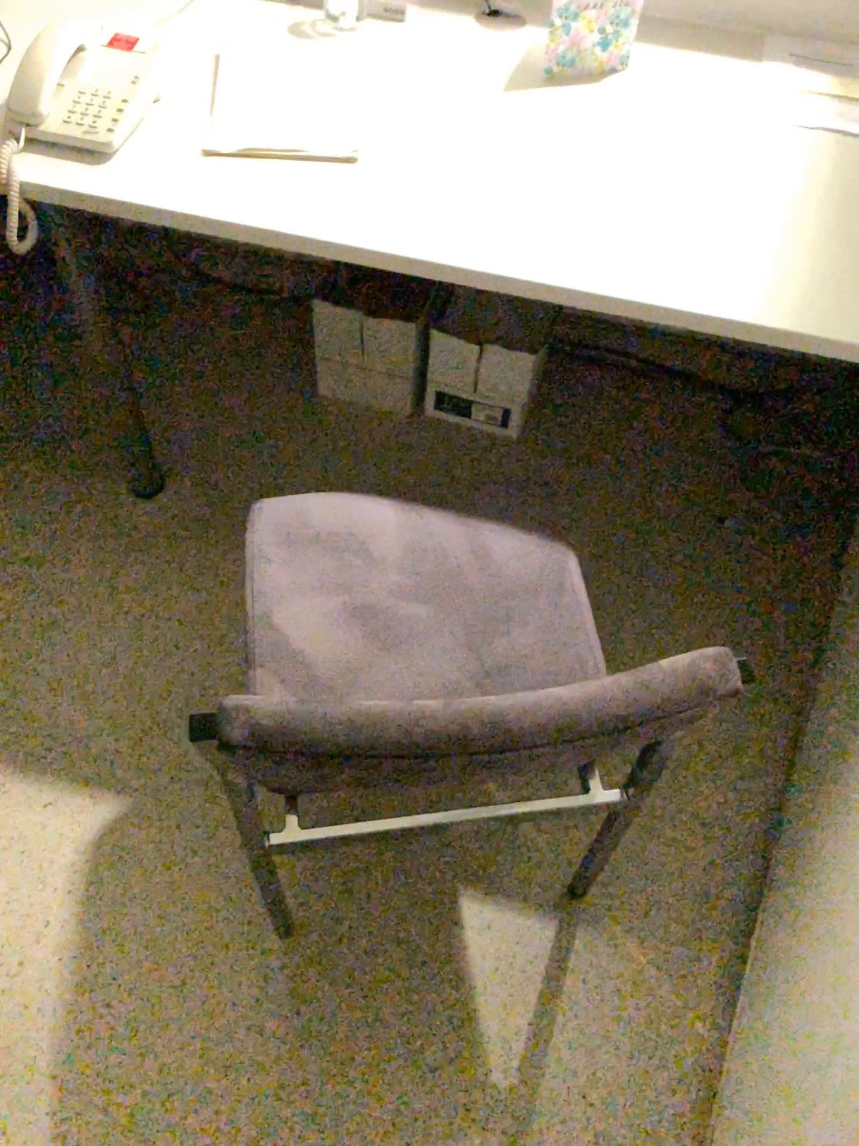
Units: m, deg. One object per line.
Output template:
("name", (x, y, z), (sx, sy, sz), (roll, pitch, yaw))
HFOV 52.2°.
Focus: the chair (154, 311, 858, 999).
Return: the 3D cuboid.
("chair", (0.036, 0.129, 1.092), (0.570, 0.665, 0.554), (-3, 53, -6))
